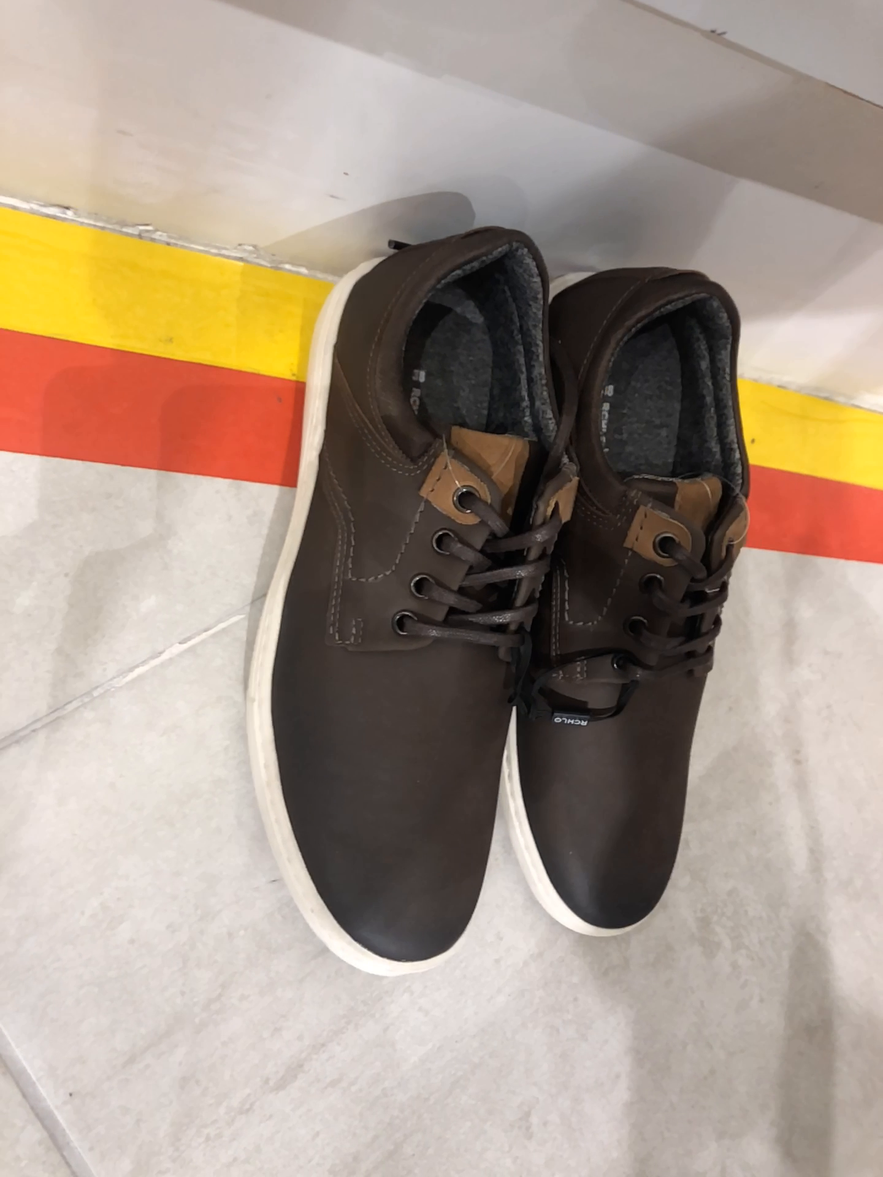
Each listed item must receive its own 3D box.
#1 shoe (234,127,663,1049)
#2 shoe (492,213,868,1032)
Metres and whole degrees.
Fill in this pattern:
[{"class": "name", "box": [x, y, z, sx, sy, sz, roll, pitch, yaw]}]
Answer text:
[{"class": "shoe", "box": [-0.001, 0.001, 0.352, 0.100, 0.100, 0.270, 5, 88, -27]}, {"class": "shoe", "box": [0.089, 0.010, 0.388, 0.100, 0.100, 0.270, -2, 94, -28]}]
